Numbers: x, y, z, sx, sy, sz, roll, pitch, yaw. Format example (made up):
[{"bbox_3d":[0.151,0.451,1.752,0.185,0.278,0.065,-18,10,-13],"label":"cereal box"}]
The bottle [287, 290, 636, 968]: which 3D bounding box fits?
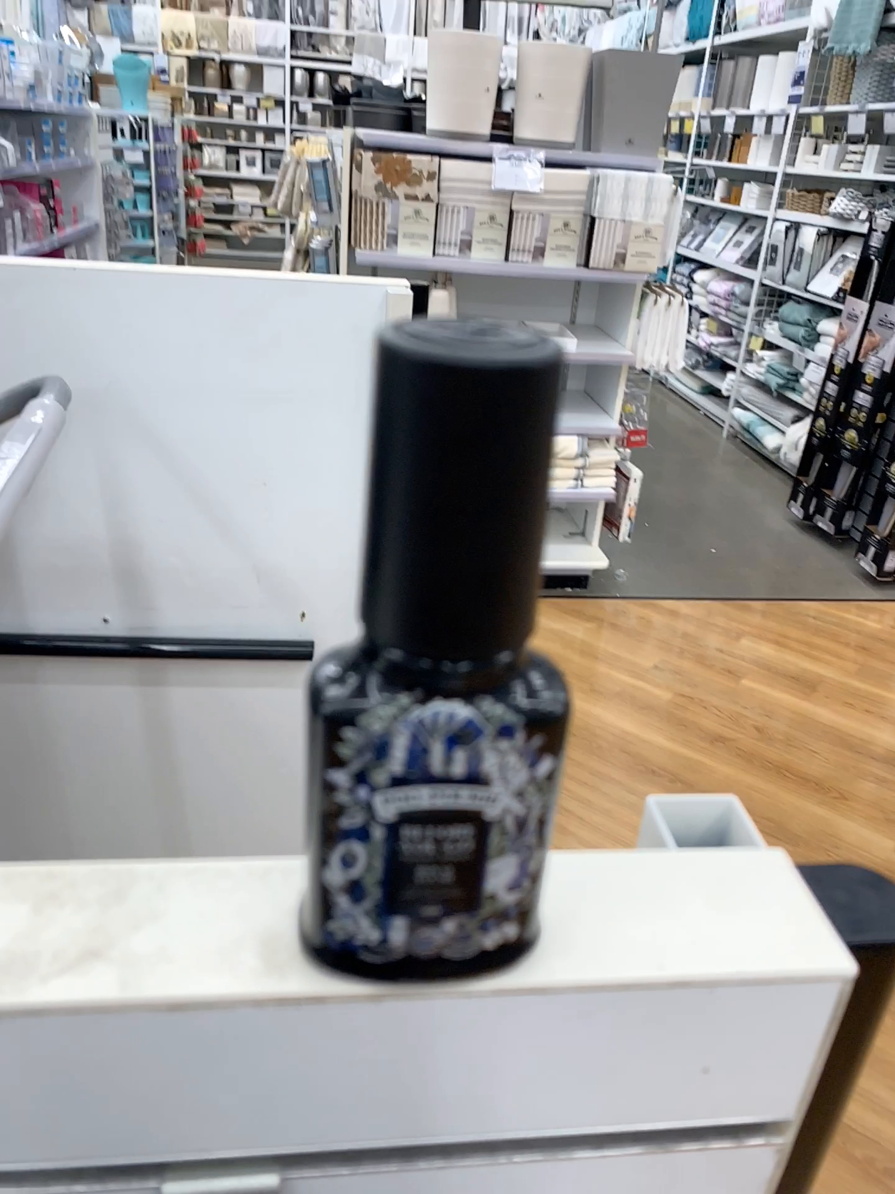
[{"bbox_3d":[-0.004,0.011,0.171,0.050,0.123,0.033,1,27,-8],"label":"bottle"}]
